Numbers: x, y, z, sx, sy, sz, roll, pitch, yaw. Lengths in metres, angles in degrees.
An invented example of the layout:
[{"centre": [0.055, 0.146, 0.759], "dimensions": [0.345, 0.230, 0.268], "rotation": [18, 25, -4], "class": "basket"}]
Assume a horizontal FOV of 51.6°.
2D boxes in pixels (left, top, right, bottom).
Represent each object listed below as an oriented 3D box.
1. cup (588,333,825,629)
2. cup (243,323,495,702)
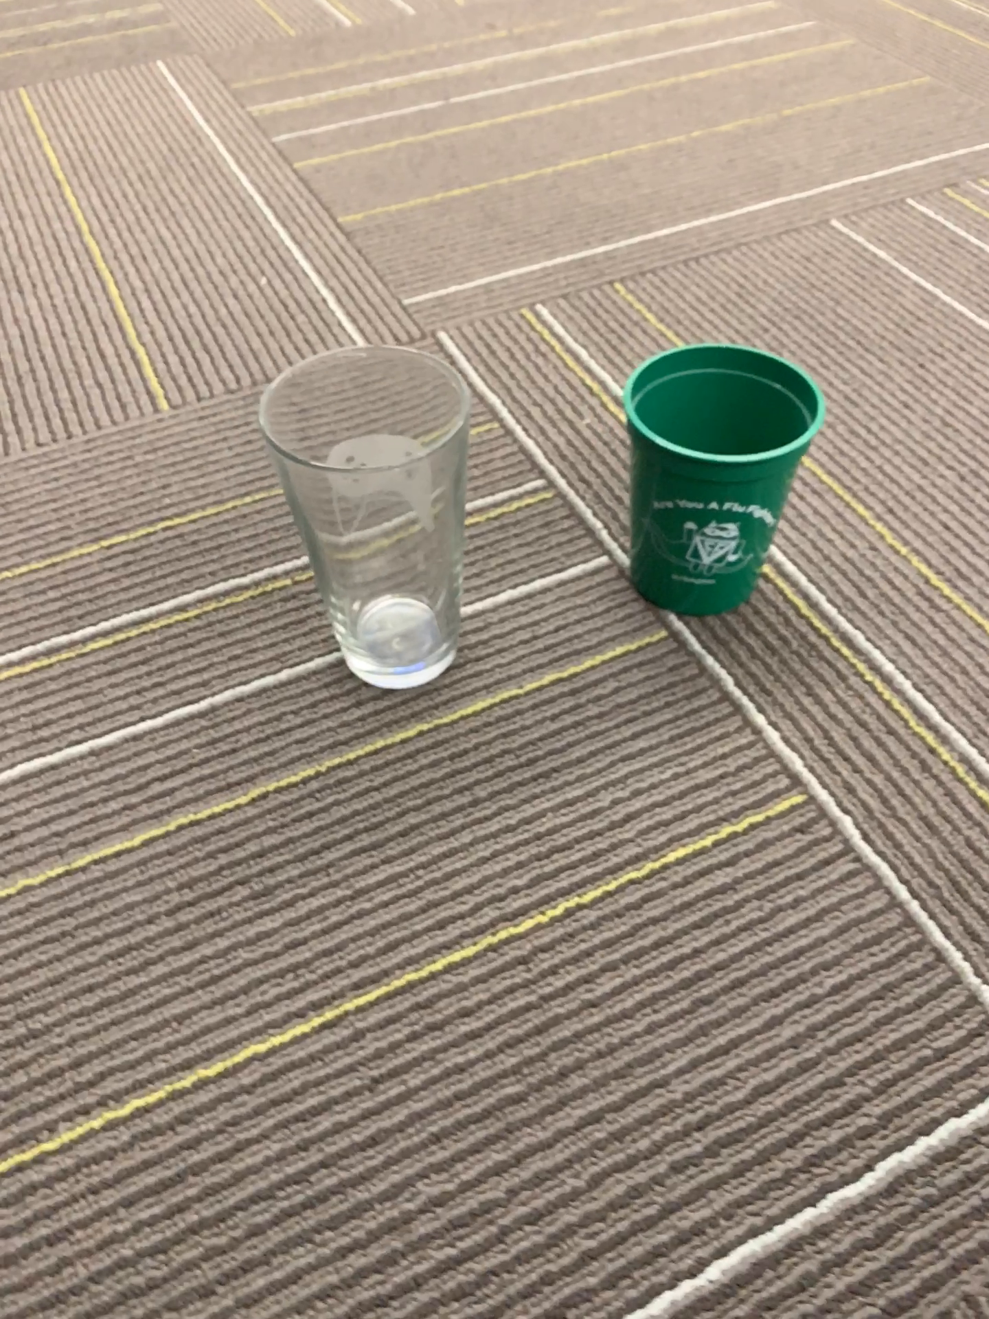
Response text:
[{"centre": [0.105, -0.091, 0.522], "dimensions": [0.100, 0.100, 0.100], "rotation": [-1, 49, 1], "class": "cup"}, {"centre": [-0.050, -0.063, 0.466], "dimensions": [0.090, 0.139, 0.090], "rotation": [-1, 49, 1], "class": "cup"}]
